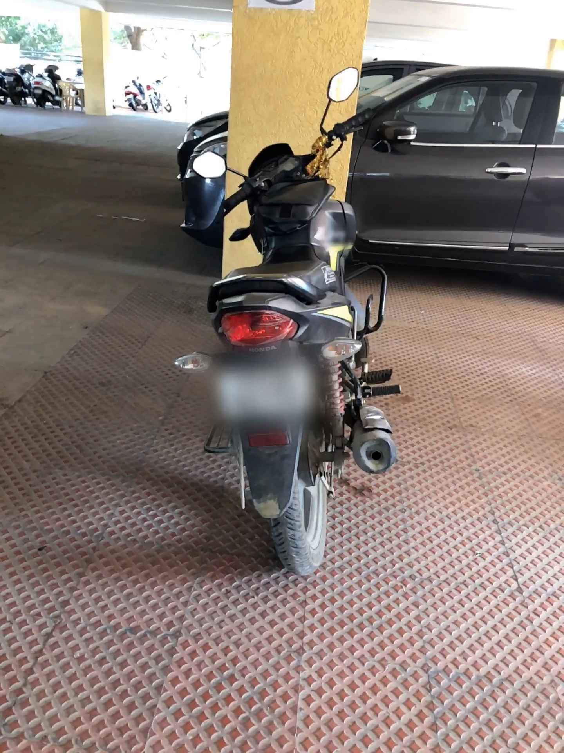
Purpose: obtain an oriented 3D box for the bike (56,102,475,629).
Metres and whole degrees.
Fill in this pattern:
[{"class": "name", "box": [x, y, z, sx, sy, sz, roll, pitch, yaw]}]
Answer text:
[{"class": "bike", "box": [0.011, -0.255, 2.016, 0.716, 1.089, 1.629, 7, 25, 3]}]
